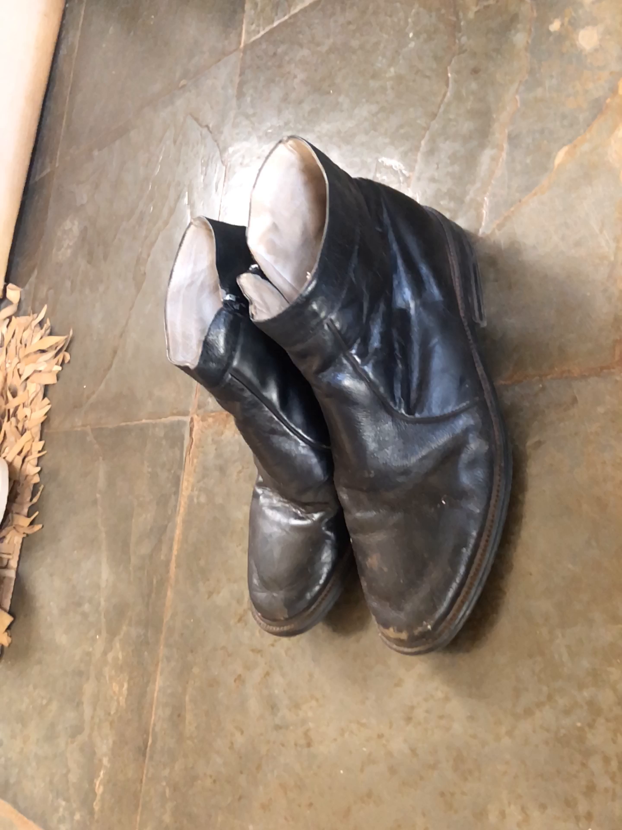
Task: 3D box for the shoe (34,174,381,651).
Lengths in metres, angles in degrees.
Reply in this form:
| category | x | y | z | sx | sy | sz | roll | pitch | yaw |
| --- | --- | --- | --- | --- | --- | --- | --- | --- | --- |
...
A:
| category | x | y | z | sx | sy | sz | roll | pitch | yaw |
| --- | --- | --- | --- | --- | --- | --- | --- | --- | --- |
| shoe | -0.055 | 0.010 | 0.441 | 0.100 | 0.159 | 0.250 | -4 | 75 | 44 |

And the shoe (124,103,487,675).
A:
| category | x | y | z | sx | sy | sz | roll | pitch | yaw |
| --- | --- | --- | --- | --- | --- | --- | --- | --- | --- |
| shoe | 0.008 | 0.000 | 0.375 | 0.100 | 0.159 | 0.250 | -11 | 70 | 42 |
